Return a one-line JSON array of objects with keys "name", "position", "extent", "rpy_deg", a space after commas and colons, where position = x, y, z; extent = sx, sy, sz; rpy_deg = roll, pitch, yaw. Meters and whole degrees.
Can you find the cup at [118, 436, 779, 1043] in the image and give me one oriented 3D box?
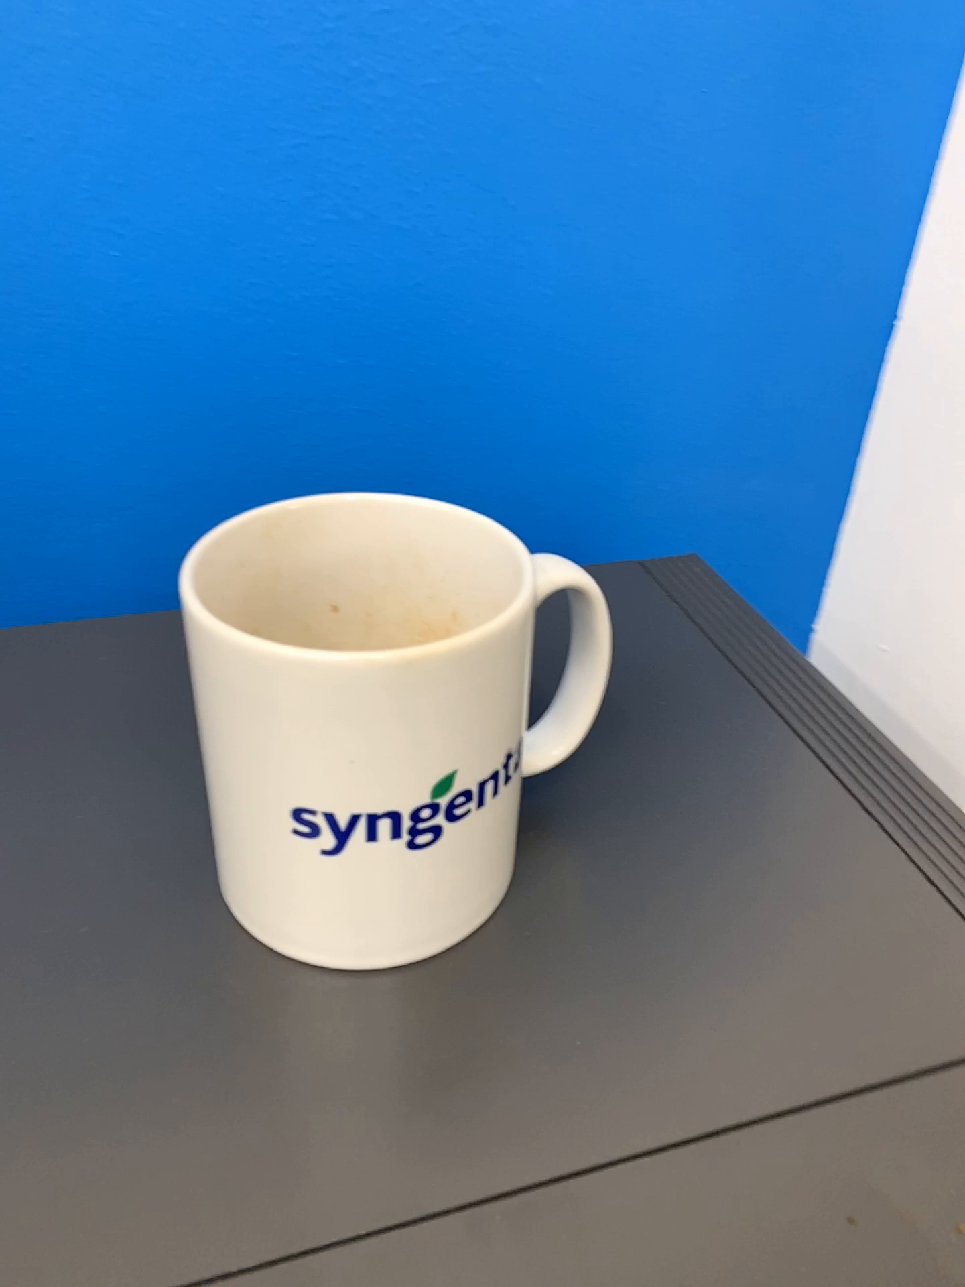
[{"name": "cup", "position": [-0.011, 0.014, 0.262], "extent": [0.131, 0.094, 0.089], "rpy_deg": [-15, 37, -26]}]
